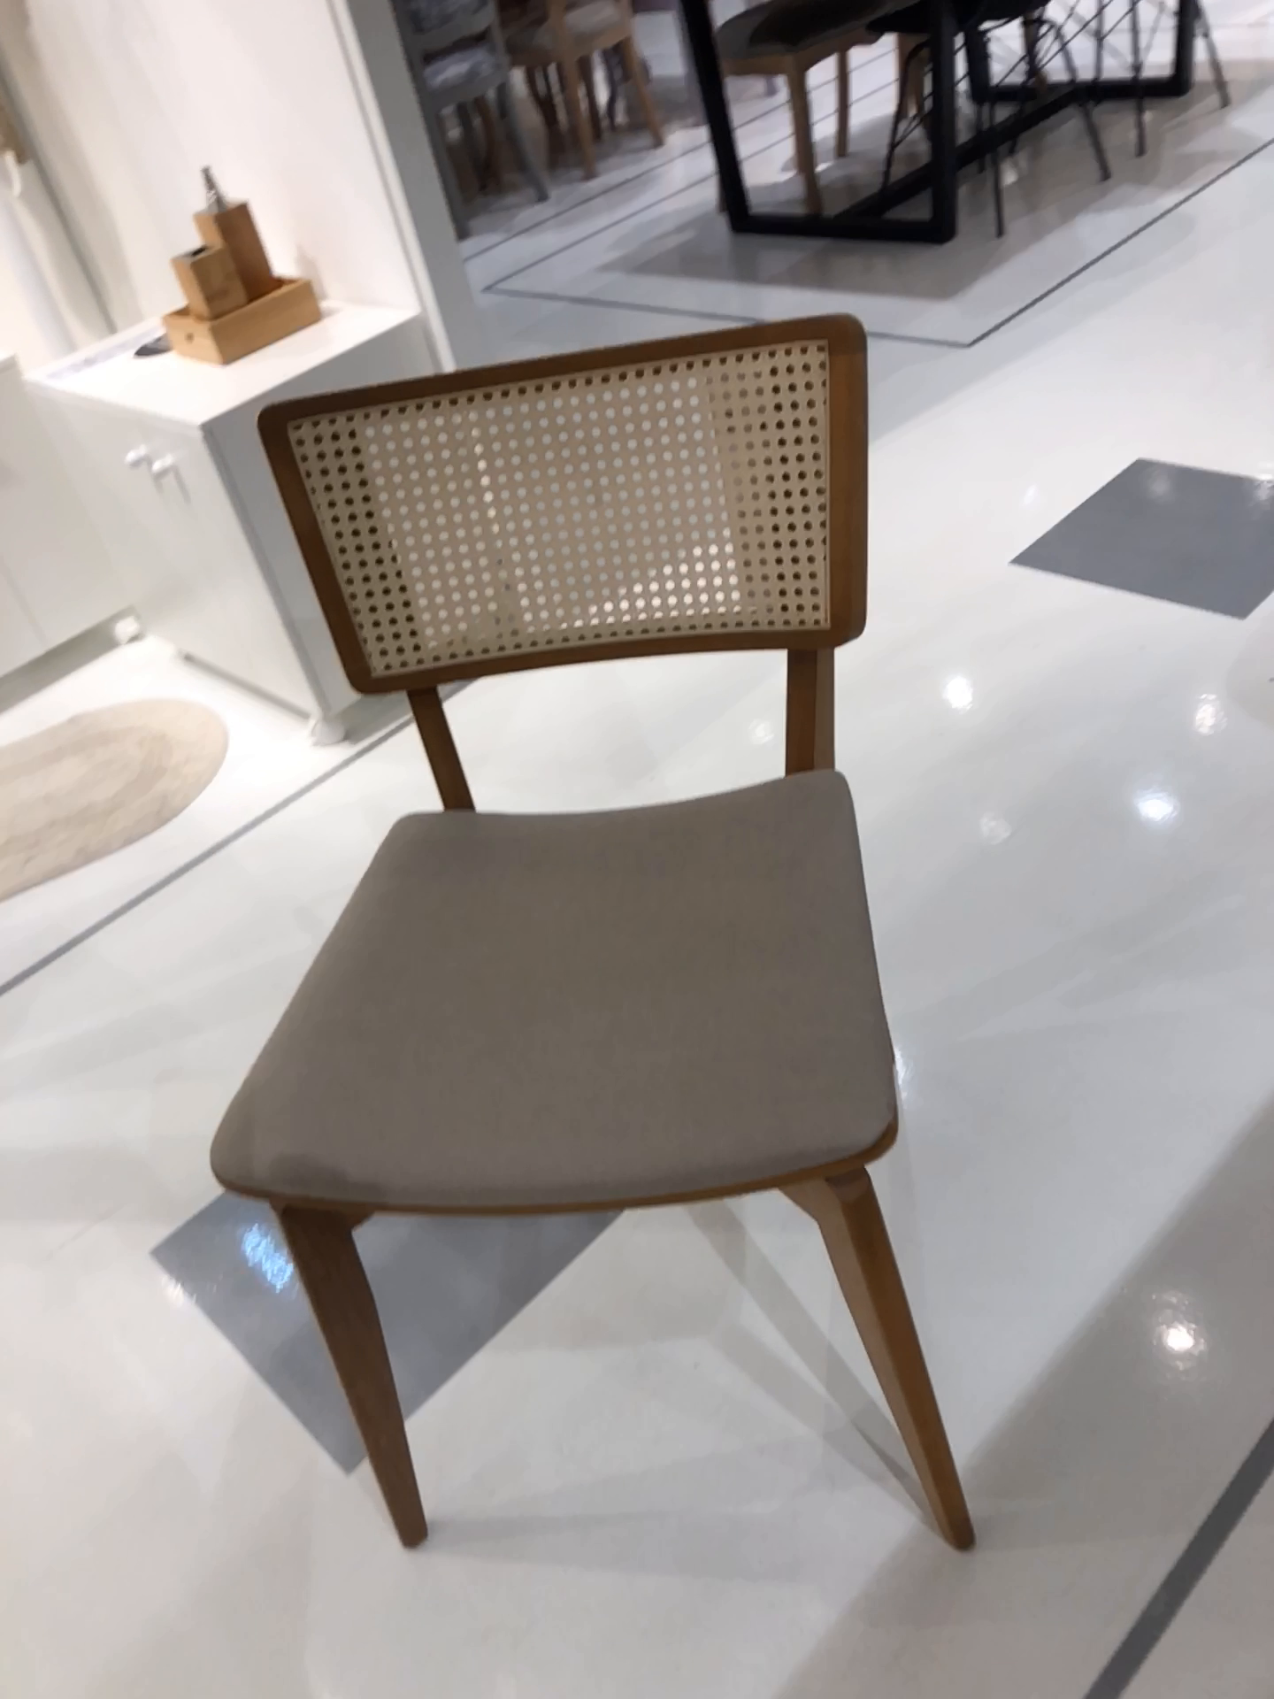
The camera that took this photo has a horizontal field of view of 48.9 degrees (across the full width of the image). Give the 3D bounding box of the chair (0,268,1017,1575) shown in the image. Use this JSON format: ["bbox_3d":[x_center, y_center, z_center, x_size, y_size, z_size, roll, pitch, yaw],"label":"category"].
[{"bbox_3d":[-0.019,0.082,1.126,0.540,0.794,0.605,-5,38,13],"label":"chair"}]
